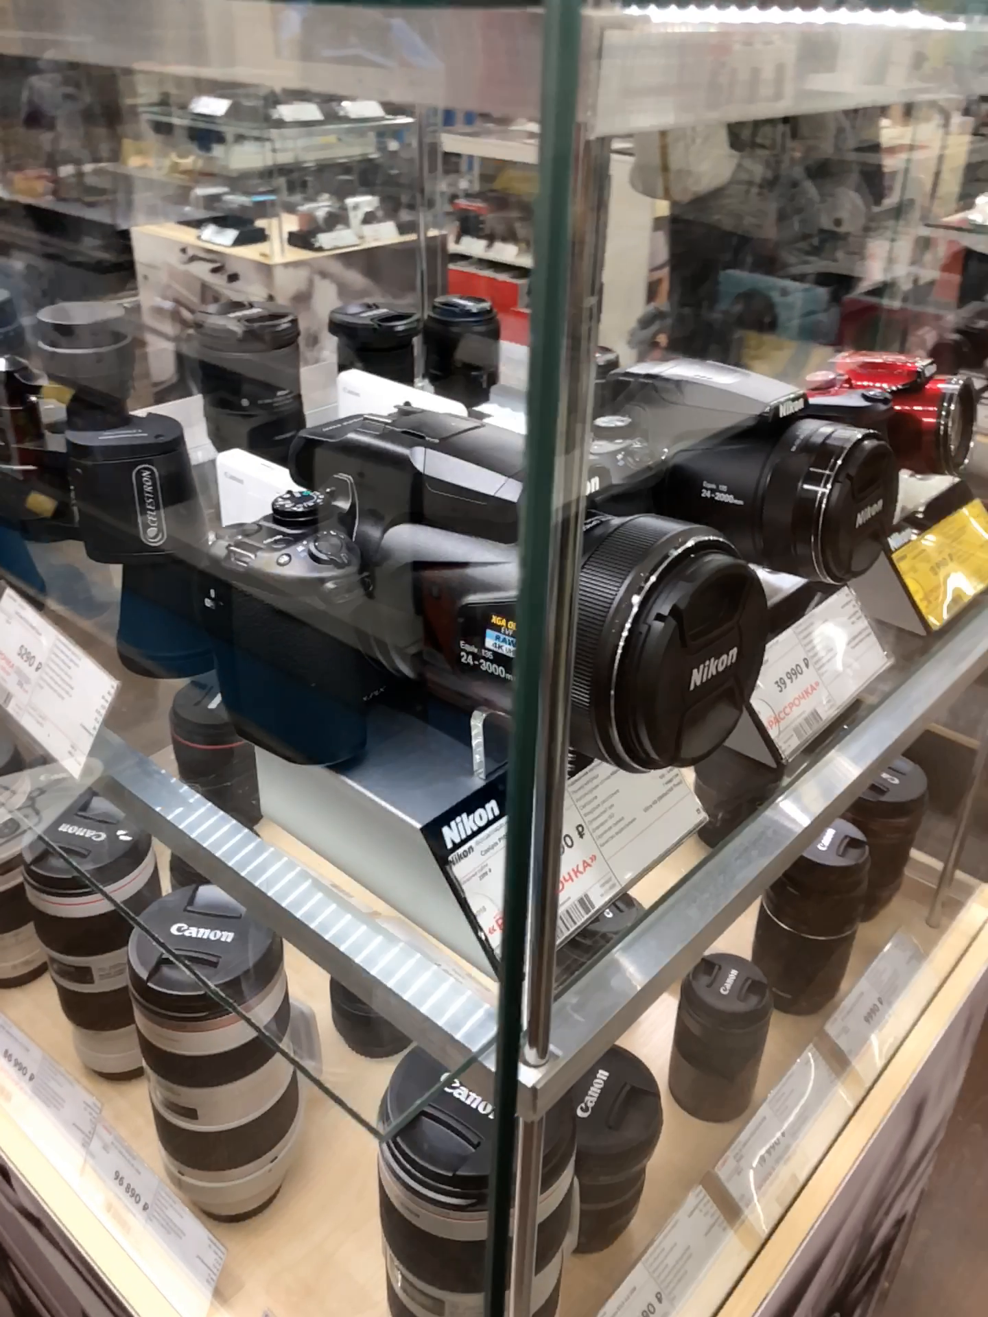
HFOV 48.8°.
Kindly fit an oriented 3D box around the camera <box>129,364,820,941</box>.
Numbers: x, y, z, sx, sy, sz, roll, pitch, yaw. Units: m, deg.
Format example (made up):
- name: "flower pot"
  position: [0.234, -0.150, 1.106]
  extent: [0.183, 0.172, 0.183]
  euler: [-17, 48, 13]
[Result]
- name: "camera"
  position: [-0.010, -0.024, 0.431]
  extent: [0.200, 0.113, 0.161]
  euler: [26, 39, 35]
